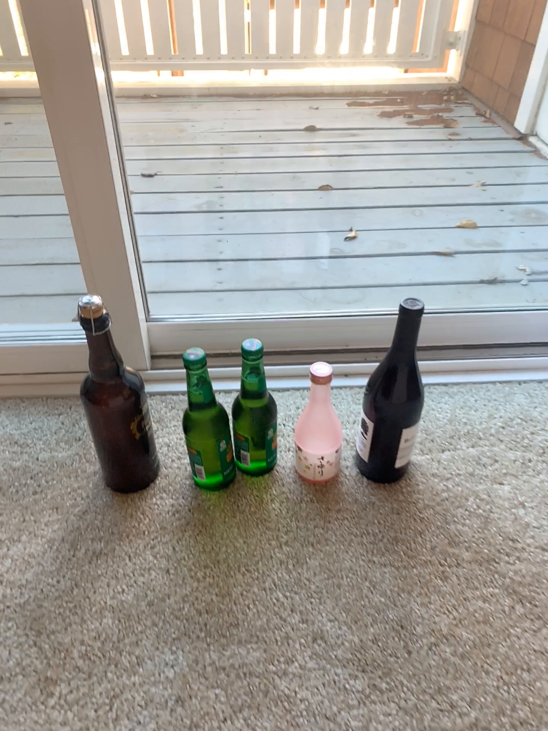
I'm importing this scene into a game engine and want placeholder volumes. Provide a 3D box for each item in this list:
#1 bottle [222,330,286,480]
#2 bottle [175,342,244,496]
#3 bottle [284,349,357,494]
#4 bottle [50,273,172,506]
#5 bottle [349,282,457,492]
[{"bbox_3d":[-0.027,0.056,0.743,0.070,0.189,0.080,-4,39,-6],"label":"bottle"},{"bbox_3d":[-0.081,0.072,0.724,0.070,0.189,0.080,-6,40,-8],"label":"bottle"},{"bbox_3d":[0.059,0.075,0.729,0.070,0.169,0.080,11,41,12],"label":"bottle"},{"bbox_3d":[-0.197,0.038,0.700,0.090,0.278,0.101,-12,41,-15],"label":"bottle"},{"bbox_3d":[0.163,0.033,0.729,0.090,0.248,0.111,11,41,12],"label":"bottle"}]
